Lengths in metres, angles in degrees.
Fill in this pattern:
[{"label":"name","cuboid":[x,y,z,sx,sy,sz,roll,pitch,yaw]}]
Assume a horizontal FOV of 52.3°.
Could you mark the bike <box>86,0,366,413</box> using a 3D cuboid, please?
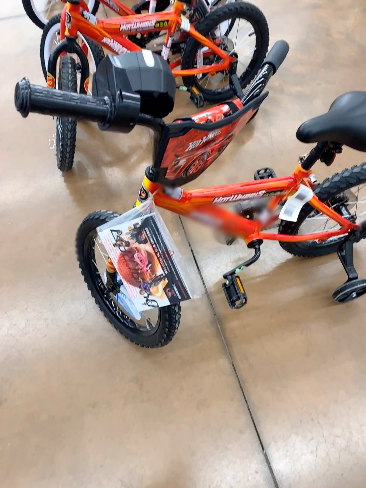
[{"label":"bike","cuboid":[0.245,-0.092,0.951,0.740,0.825,0.511,-26,60,-8]}]
